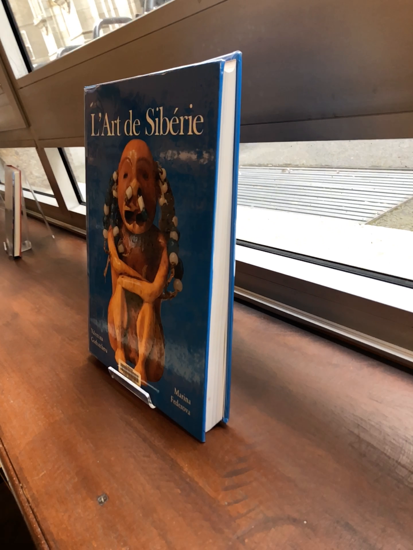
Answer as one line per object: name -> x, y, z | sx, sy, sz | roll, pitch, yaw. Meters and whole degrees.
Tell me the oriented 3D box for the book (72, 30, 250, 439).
book -> -0.062, -0.044, 0.492 | 0.044, 0.349, 0.254 | -11, 18, -38
